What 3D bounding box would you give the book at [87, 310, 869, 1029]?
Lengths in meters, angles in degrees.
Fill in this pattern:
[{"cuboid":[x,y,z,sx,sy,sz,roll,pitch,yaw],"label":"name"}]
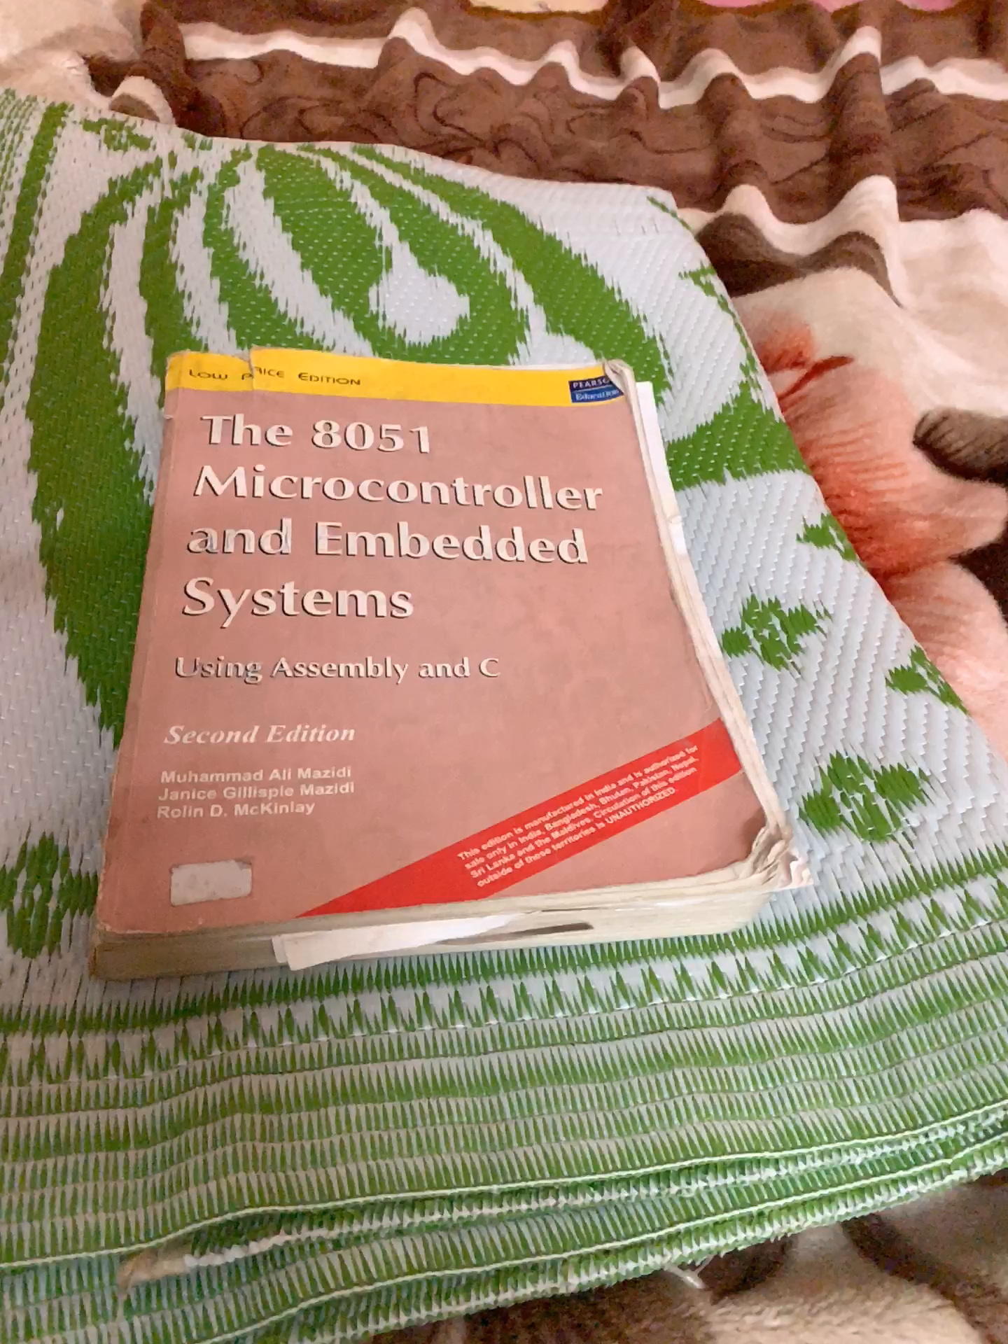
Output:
[{"cuboid":[-0.020,-0.028,0.412,0.230,0.050,0.302,-3,54,-6],"label":"book"}]
